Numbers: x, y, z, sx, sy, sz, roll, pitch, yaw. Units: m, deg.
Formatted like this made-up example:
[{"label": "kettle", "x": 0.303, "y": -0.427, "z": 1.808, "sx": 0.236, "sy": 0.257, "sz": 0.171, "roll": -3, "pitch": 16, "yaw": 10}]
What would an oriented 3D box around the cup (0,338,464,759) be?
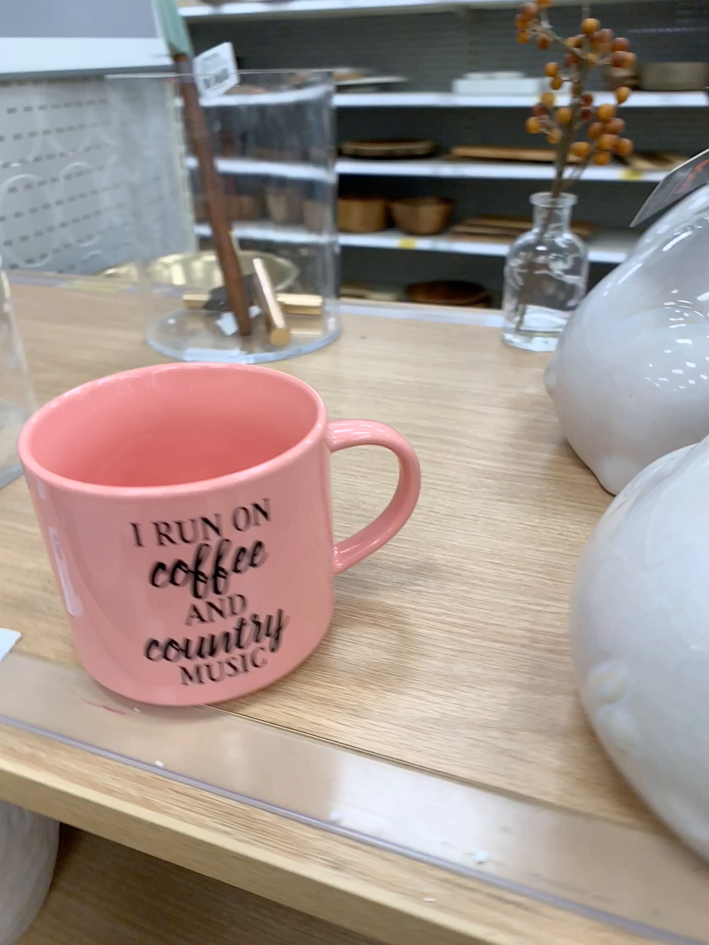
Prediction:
[{"label": "cup", "x": -0.044, "y": 0.017, "z": 0.263, "sx": 0.133, "sy": 0.085, "sz": 0.104, "roll": -9, "pitch": 30, "yaw": -12}]
